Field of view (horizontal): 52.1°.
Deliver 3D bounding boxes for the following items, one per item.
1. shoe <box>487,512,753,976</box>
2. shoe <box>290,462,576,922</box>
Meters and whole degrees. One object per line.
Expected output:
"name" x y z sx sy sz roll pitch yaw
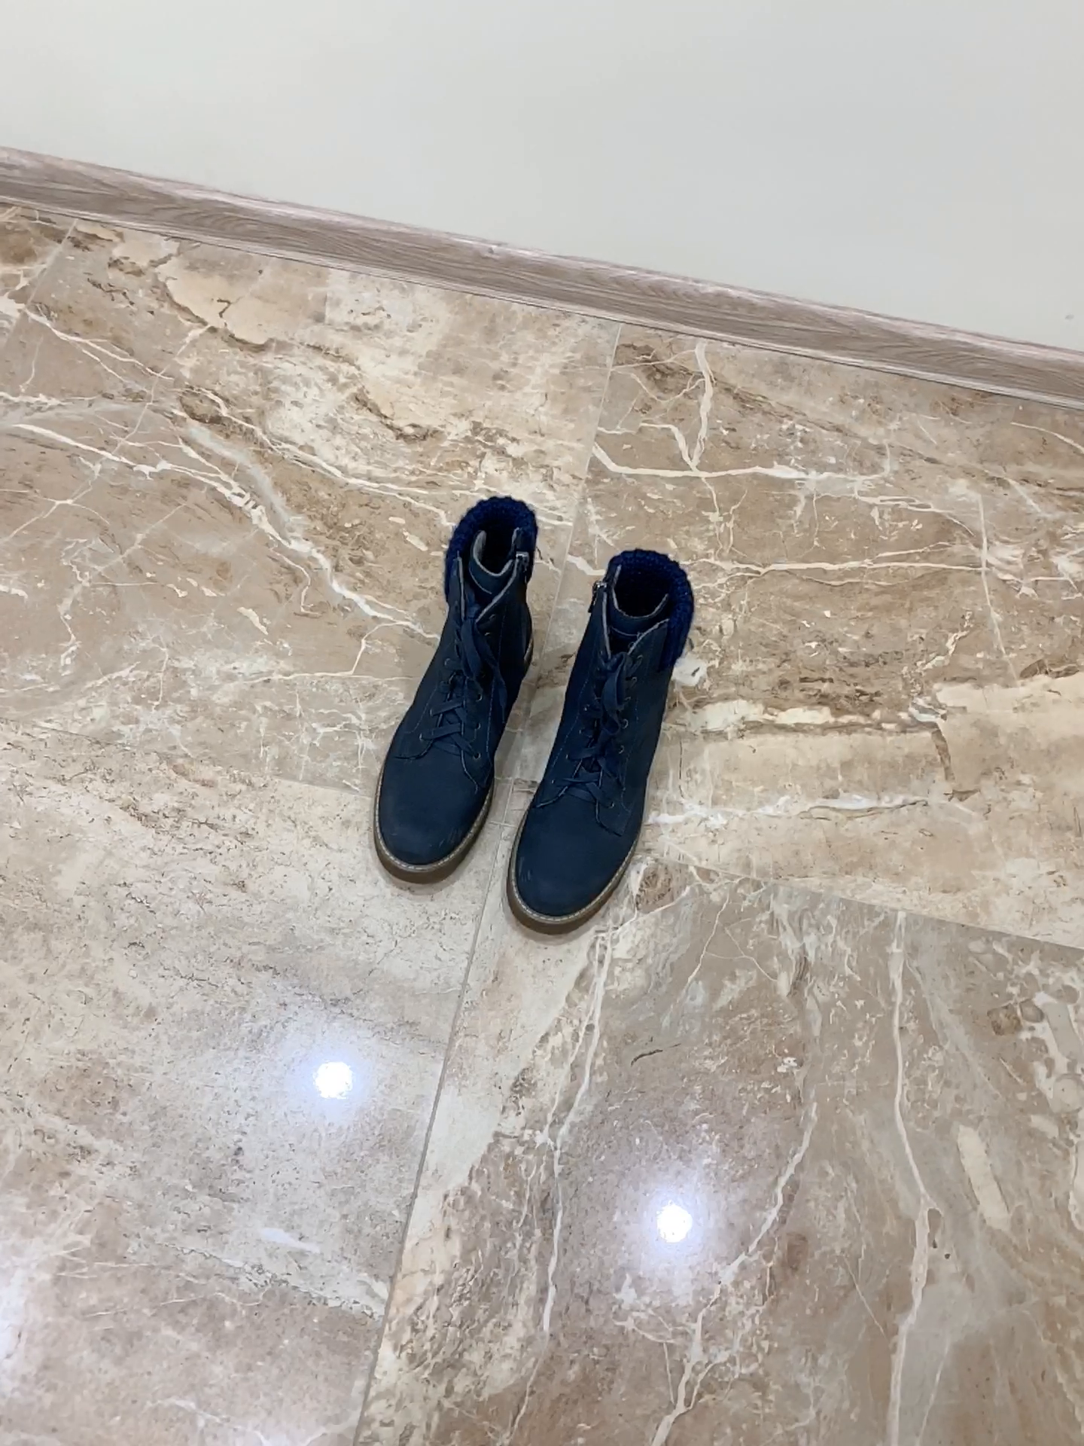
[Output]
"shoe" 0.052 0.021 0.808 0.101 0.200 0.261 18 64 5
"shoe" -0.070 -0.017 0.819 0.101 0.200 0.261 18 64 5
